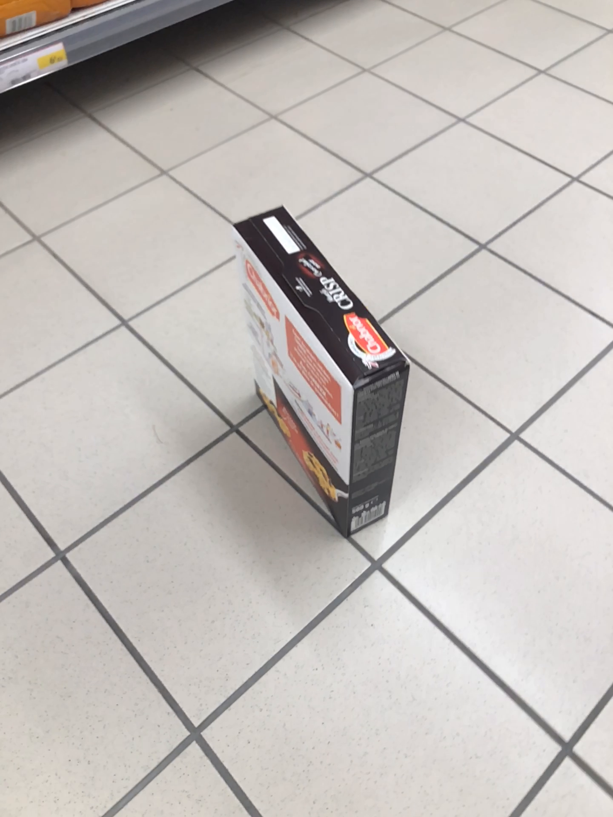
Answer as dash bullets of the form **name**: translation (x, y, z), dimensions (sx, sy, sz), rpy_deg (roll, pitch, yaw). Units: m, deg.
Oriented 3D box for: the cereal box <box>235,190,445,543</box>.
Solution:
- **cereal box**: translation (0.019, -0.028, 0.583), dimensions (0.060, 0.229, 0.201), rpy_deg (-24, 57, -16)
